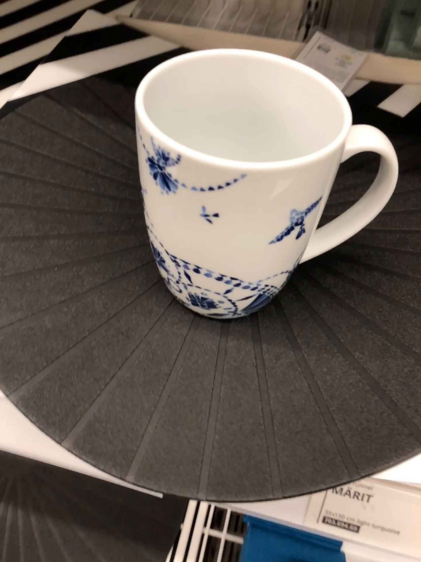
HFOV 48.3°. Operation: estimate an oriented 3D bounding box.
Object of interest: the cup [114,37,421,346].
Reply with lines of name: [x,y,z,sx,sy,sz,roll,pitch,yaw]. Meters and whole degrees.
cup: [0.032,-0.040,0.226,0.130,0.100,0.100,2,50,-1]
